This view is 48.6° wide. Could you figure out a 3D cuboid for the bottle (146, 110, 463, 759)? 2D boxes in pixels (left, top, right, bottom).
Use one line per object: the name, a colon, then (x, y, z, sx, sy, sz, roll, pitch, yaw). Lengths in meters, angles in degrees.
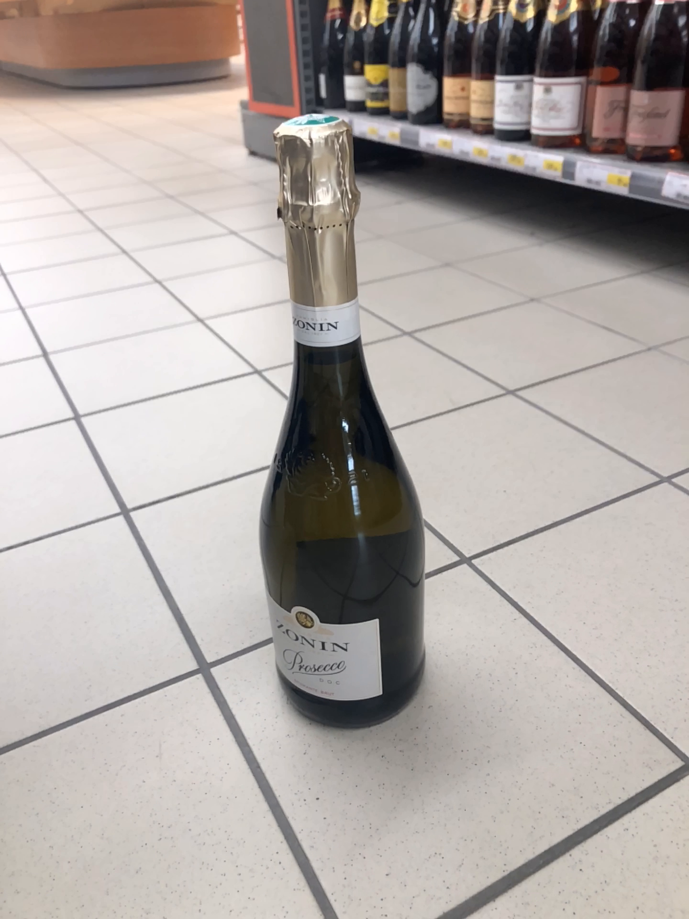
bottle: (-0.005, -0.003, 0.388, 0.100, 0.308, 0.091, 10, 32, 23)
